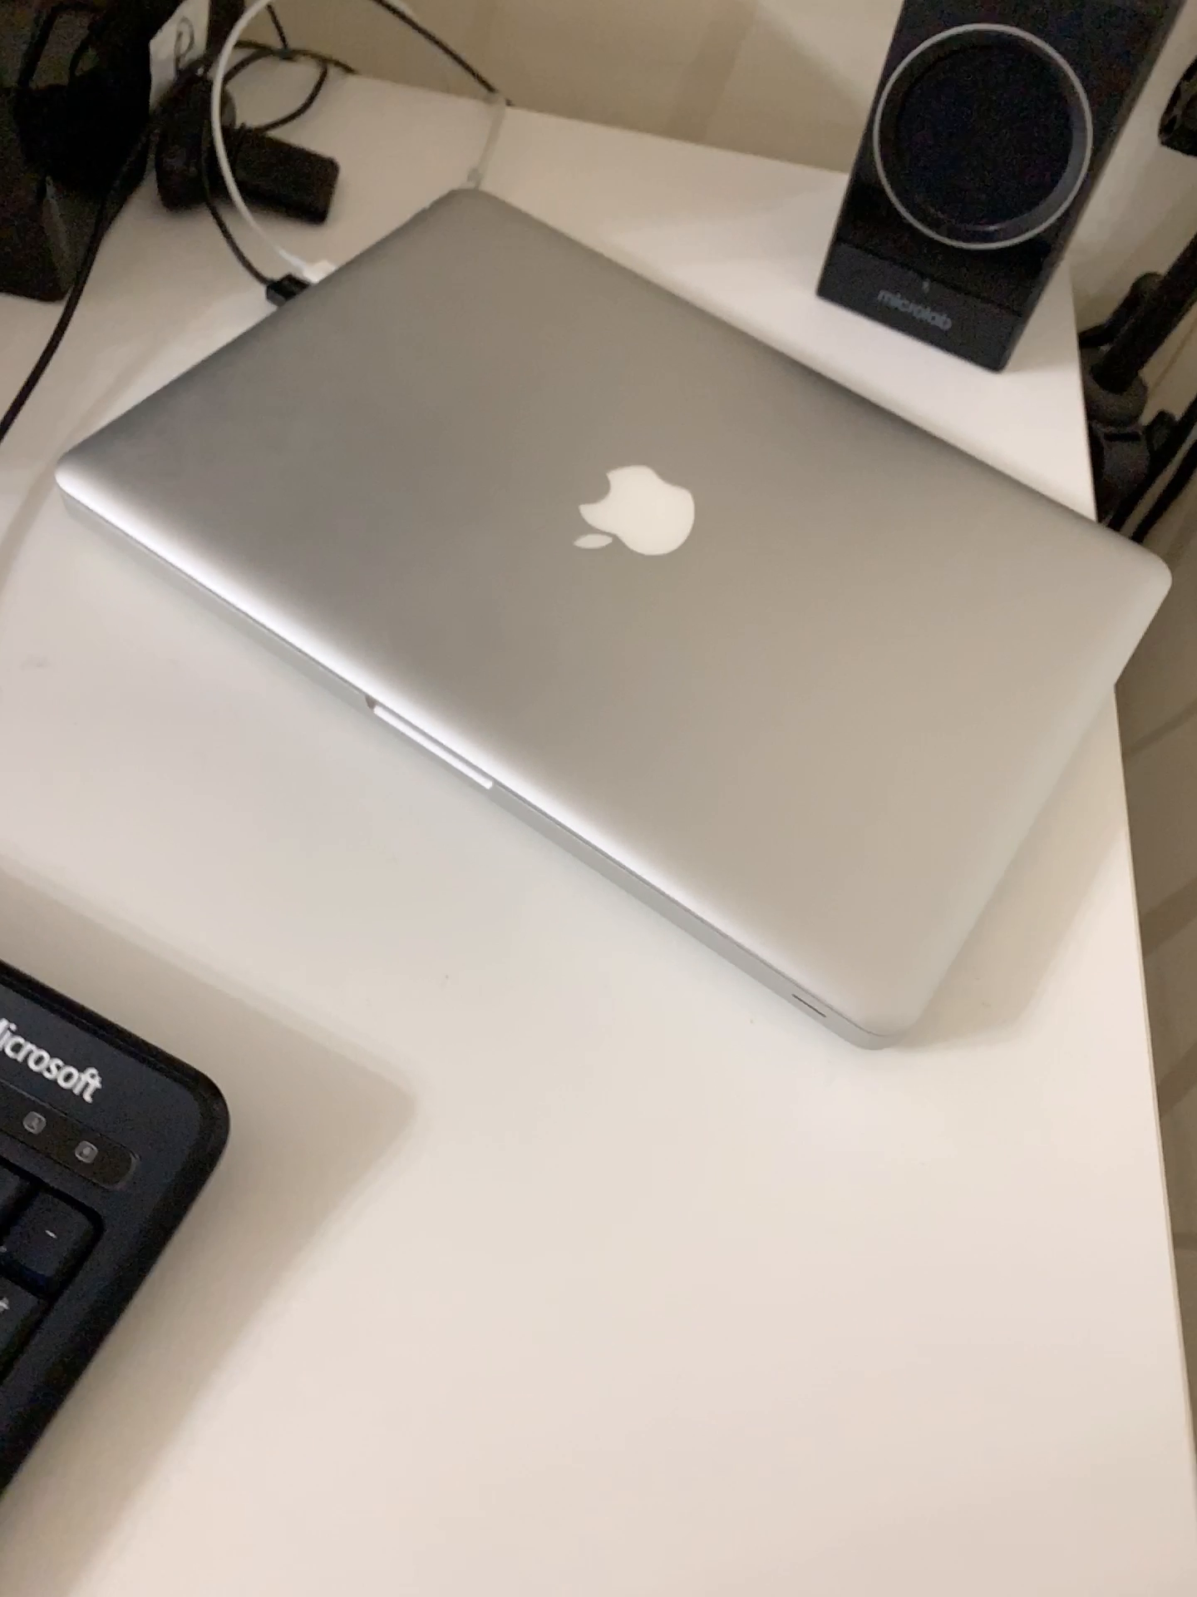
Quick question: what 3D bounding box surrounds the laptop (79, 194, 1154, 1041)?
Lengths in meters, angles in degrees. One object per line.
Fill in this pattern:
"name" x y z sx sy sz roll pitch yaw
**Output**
"laptop" 0.011 -0.089 0.421 0.305 0.011 0.208 33 61 14
